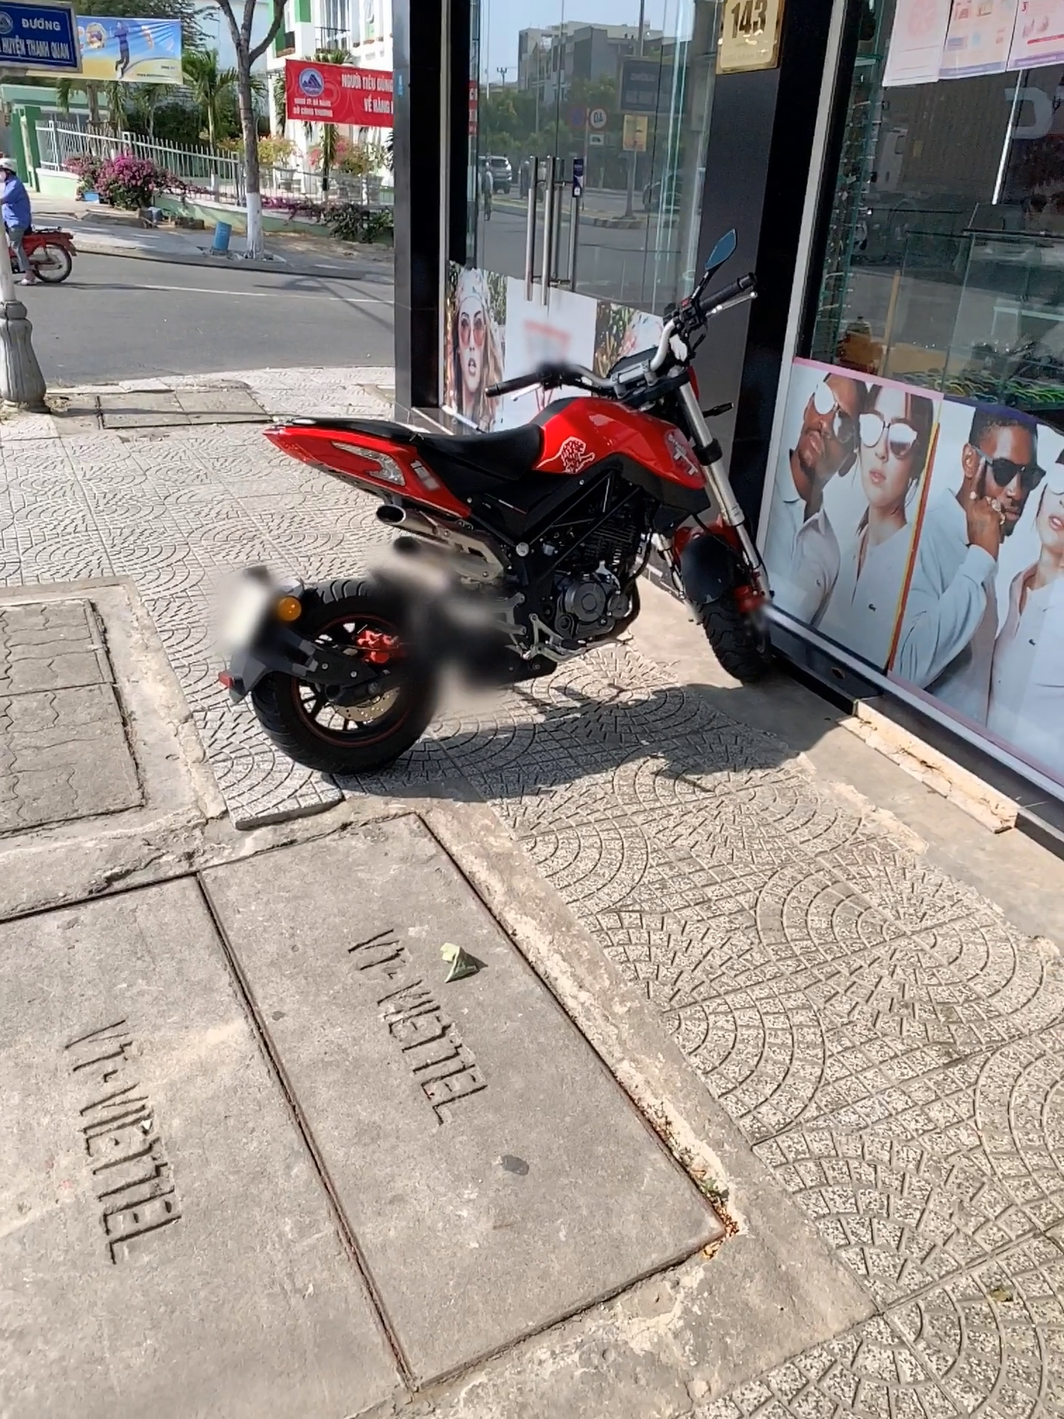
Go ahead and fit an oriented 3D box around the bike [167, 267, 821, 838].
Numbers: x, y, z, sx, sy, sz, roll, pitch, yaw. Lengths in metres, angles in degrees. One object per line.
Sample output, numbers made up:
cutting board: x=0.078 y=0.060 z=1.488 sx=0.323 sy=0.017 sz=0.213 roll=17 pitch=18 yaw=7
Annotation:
bike: x=-0.009 y=-0.699 z=3.422 sx=2.126 sy=1.216 sz=0.833 roll=-21 pitch=34 yaw=-41
